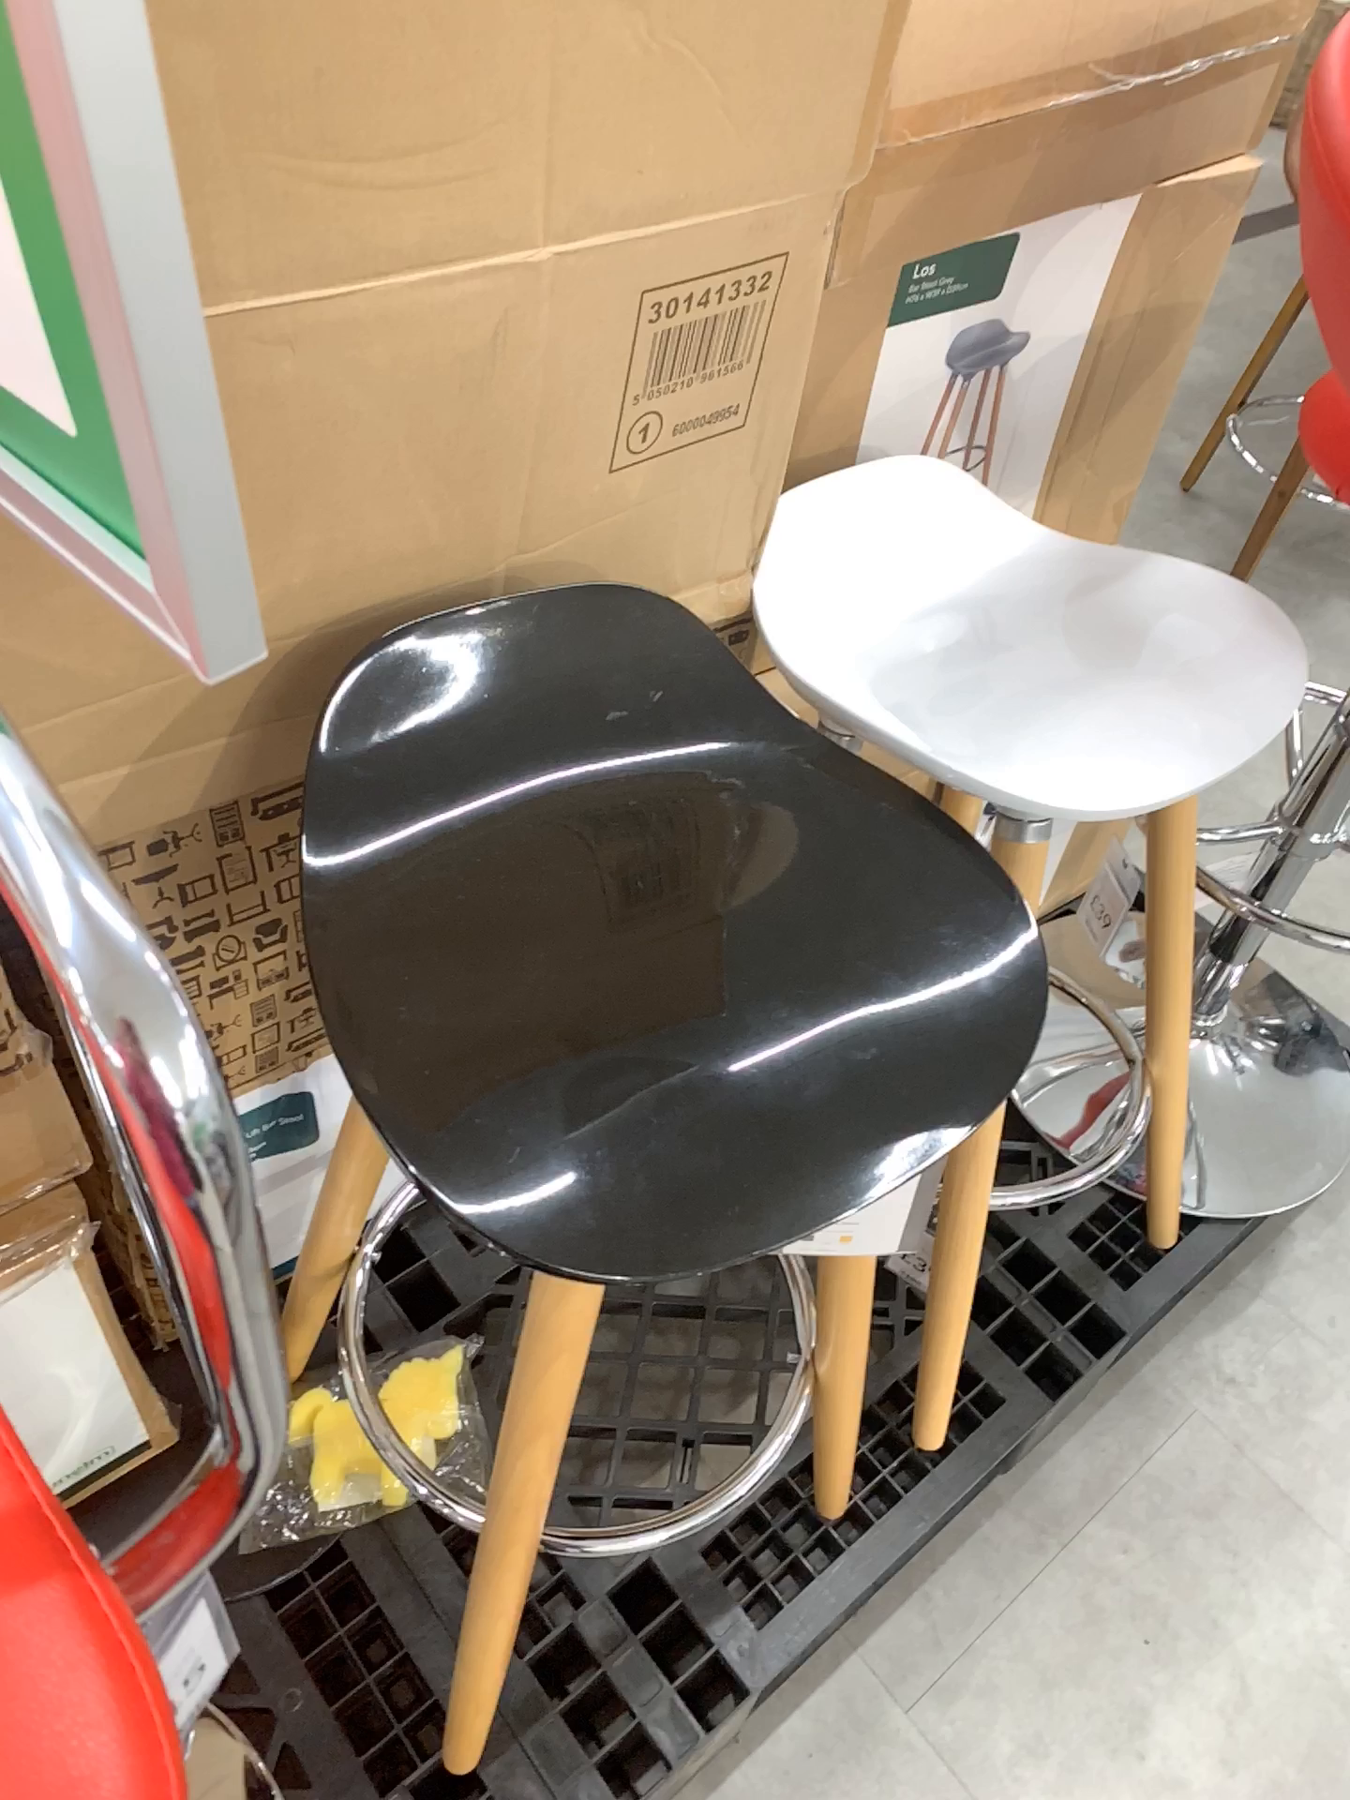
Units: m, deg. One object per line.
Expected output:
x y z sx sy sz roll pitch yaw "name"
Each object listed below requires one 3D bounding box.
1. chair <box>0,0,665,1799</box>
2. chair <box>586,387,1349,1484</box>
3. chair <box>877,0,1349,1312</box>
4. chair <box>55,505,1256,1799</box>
-0.403 0.348 0.477 0.551 1.030 0.451 -32 57 -32 "chair"
0.250 0.035 1.144 0.410 0.663 0.482 -27 55 -30 "chair"
0.609 -0.187 1.209 0.511 0.980 0.451 -32 57 -32 "chair"
-0.053 0.188 0.914 0.430 0.673 0.432 -22 52 -26 "chair"
